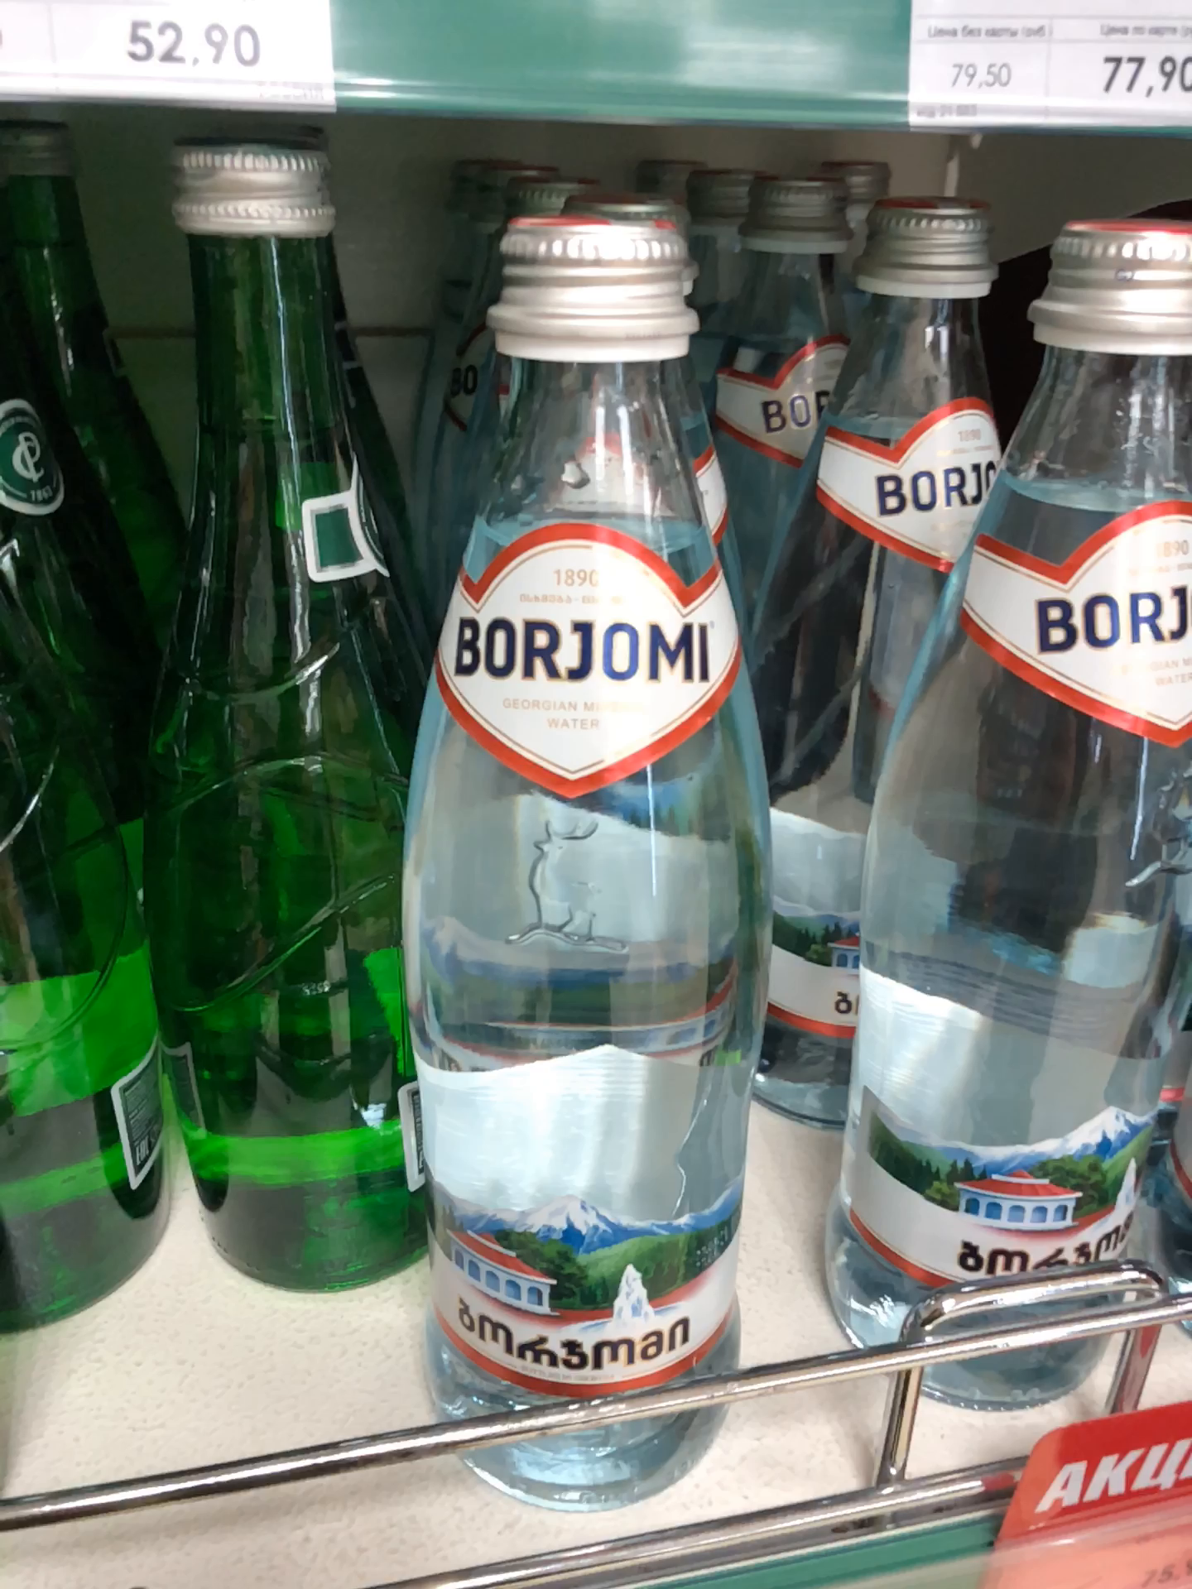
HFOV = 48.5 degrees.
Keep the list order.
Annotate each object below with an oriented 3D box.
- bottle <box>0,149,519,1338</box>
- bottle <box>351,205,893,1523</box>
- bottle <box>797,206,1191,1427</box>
[{"bbox_3d":[-0.065,-0.007,0.288,0.069,0.237,0.065,1,24,0],"label":"bottle"},{"bbox_3d":[0.000,0.022,0.242,0.068,0.236,0.063,1,24,0],"label":"bottle"},{"bbox_3d":[0.090,0.013,0.264,0.069,0.236,0.065,1,24,0],"label":"bottle"}]
